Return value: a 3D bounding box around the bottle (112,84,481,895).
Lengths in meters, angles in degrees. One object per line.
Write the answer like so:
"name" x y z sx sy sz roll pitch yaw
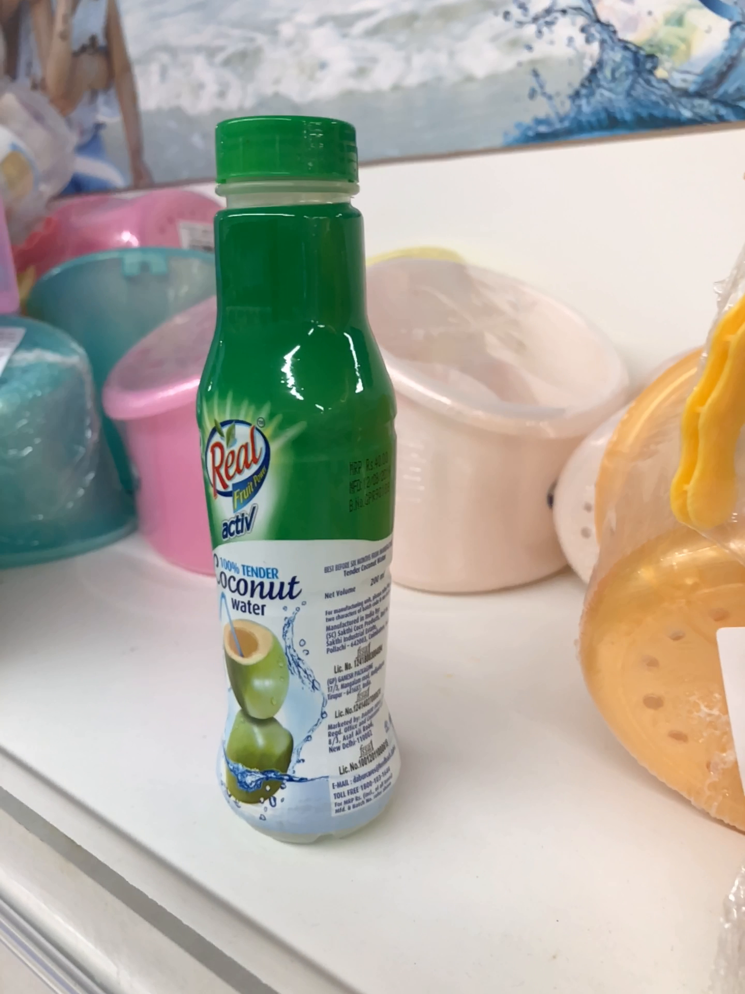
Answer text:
"bottle" -0.013 -0.002 0.218 0.060 0.179 0.060 -1 17 0
